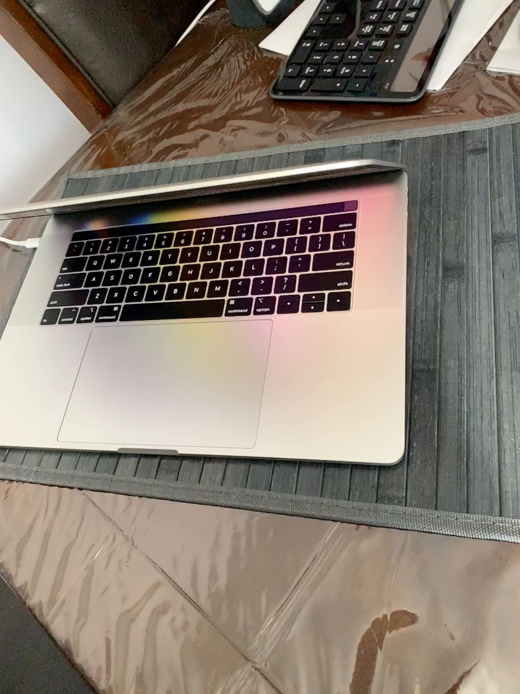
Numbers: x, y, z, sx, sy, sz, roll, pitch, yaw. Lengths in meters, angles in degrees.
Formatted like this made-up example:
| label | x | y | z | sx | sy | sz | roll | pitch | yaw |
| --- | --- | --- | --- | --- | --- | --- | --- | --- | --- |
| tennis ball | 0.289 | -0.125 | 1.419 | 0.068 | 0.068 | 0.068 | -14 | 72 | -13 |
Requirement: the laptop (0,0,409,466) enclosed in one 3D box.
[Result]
| label | x | y | z | sx | sy | sz | roll | pitch | yaw |
| --- | --- | --- | --- | --- | --- | --- | --- | --- | --- |
| laptop | -0.086 | -0.070 | 0.357 | 0.342 | 0.166 | 0.233 | -1 | 62 | 20 |
